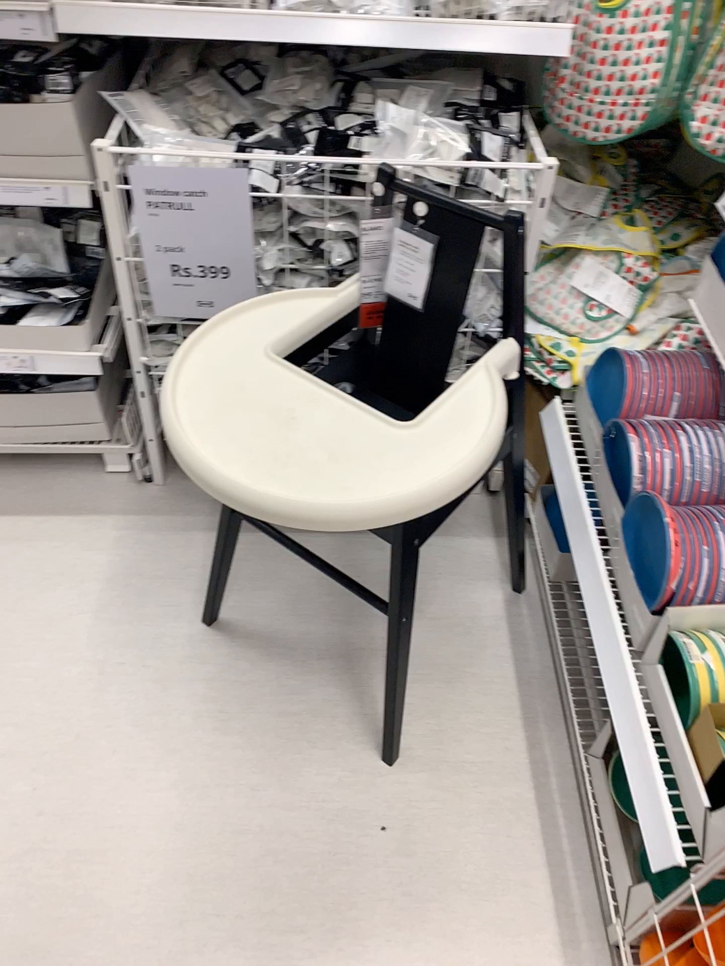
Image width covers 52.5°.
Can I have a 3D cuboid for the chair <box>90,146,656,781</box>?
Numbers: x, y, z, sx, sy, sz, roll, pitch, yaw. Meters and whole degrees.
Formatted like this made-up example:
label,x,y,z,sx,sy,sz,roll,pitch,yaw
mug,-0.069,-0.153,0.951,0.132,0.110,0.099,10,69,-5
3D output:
label,x,y,z,sx,sy,sz,roll,pitch,yaw
chair,0.015,-0.024,1.264,0.531,0.777,0.551,31,53,24
